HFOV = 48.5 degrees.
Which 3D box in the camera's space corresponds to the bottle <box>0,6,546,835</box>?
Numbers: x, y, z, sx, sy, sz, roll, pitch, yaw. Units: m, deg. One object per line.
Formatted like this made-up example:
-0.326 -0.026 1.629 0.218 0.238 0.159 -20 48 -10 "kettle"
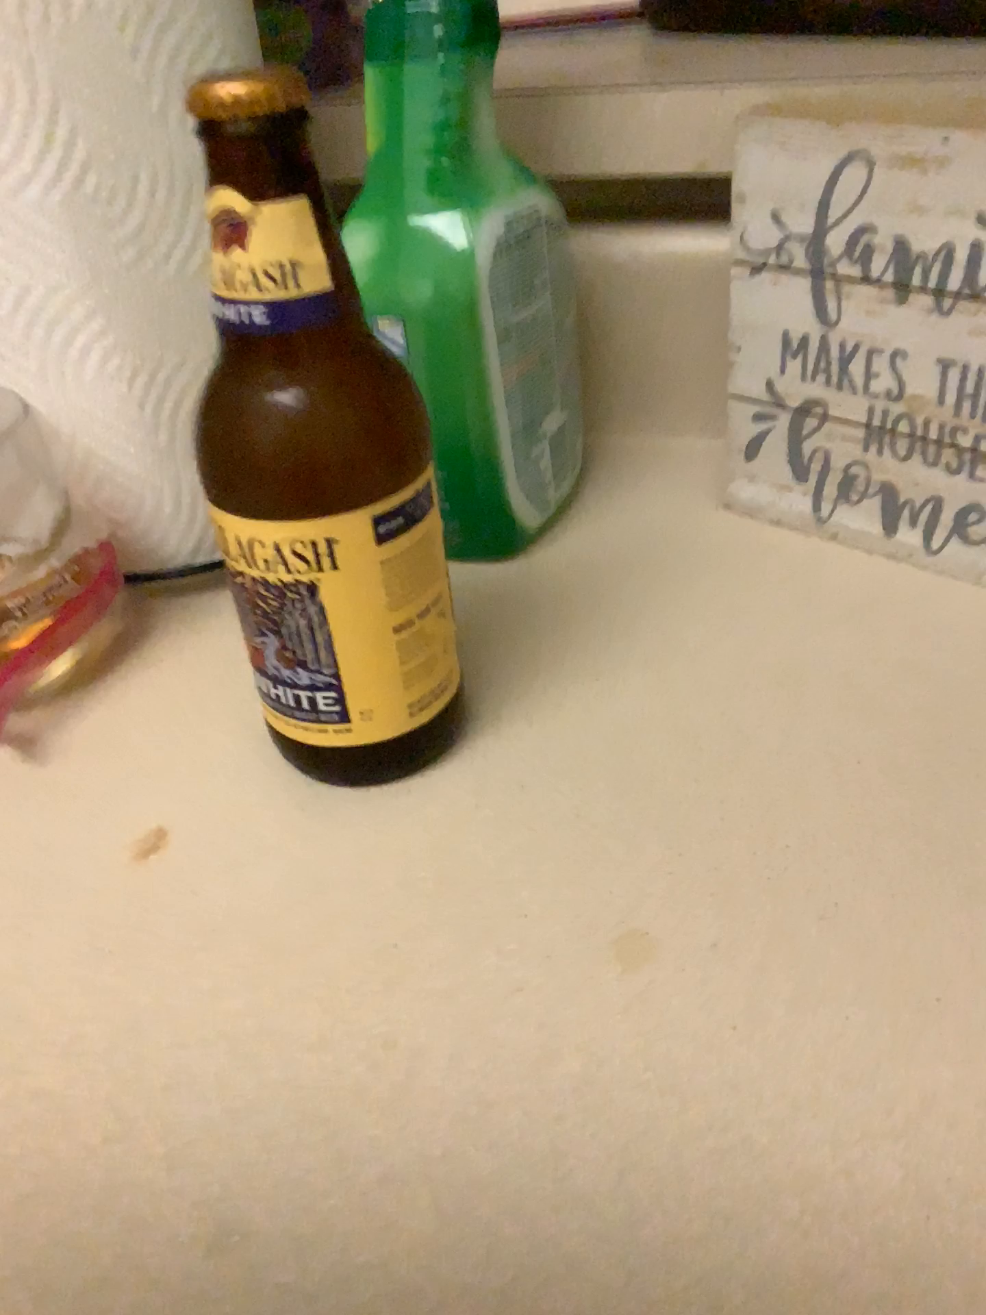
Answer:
-0.047 -0.060 0.296 0.080 0.190 0.080 -4 34 3 "bottle"
